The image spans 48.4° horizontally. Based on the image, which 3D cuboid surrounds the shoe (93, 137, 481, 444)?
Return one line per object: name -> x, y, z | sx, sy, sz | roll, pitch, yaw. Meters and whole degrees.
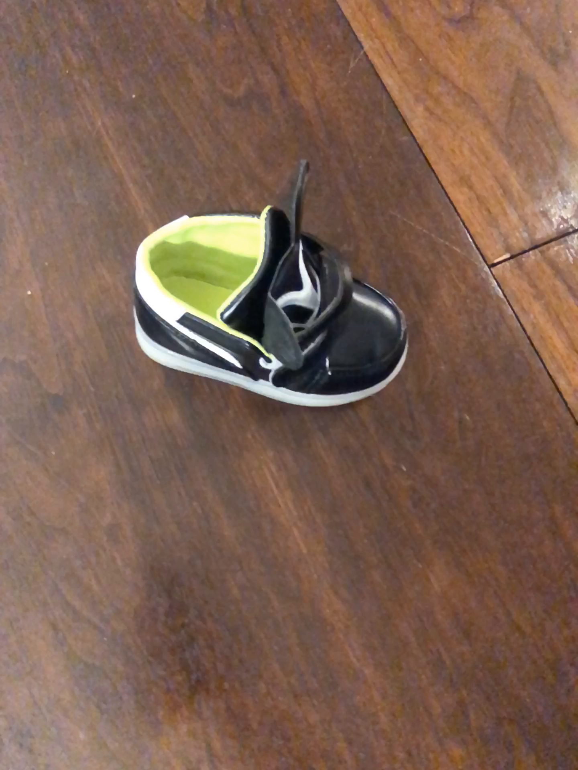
shoe -> -0.001, -0.036, 0.314 | 0.150, 0.100, 0.090 | 10, 74, -5
